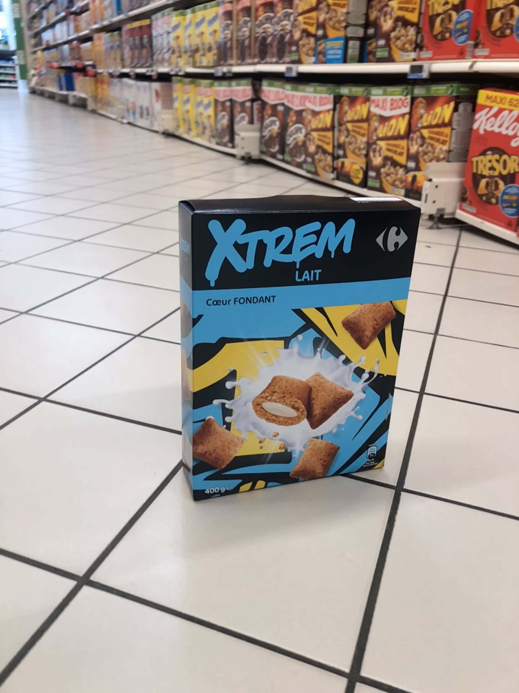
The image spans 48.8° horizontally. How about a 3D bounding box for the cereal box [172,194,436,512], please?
[{"bbox_3d":[0.030,0.004,0.501,0.200,0.259,0.060,-5,24,-18],"label":"cereal box"}]
